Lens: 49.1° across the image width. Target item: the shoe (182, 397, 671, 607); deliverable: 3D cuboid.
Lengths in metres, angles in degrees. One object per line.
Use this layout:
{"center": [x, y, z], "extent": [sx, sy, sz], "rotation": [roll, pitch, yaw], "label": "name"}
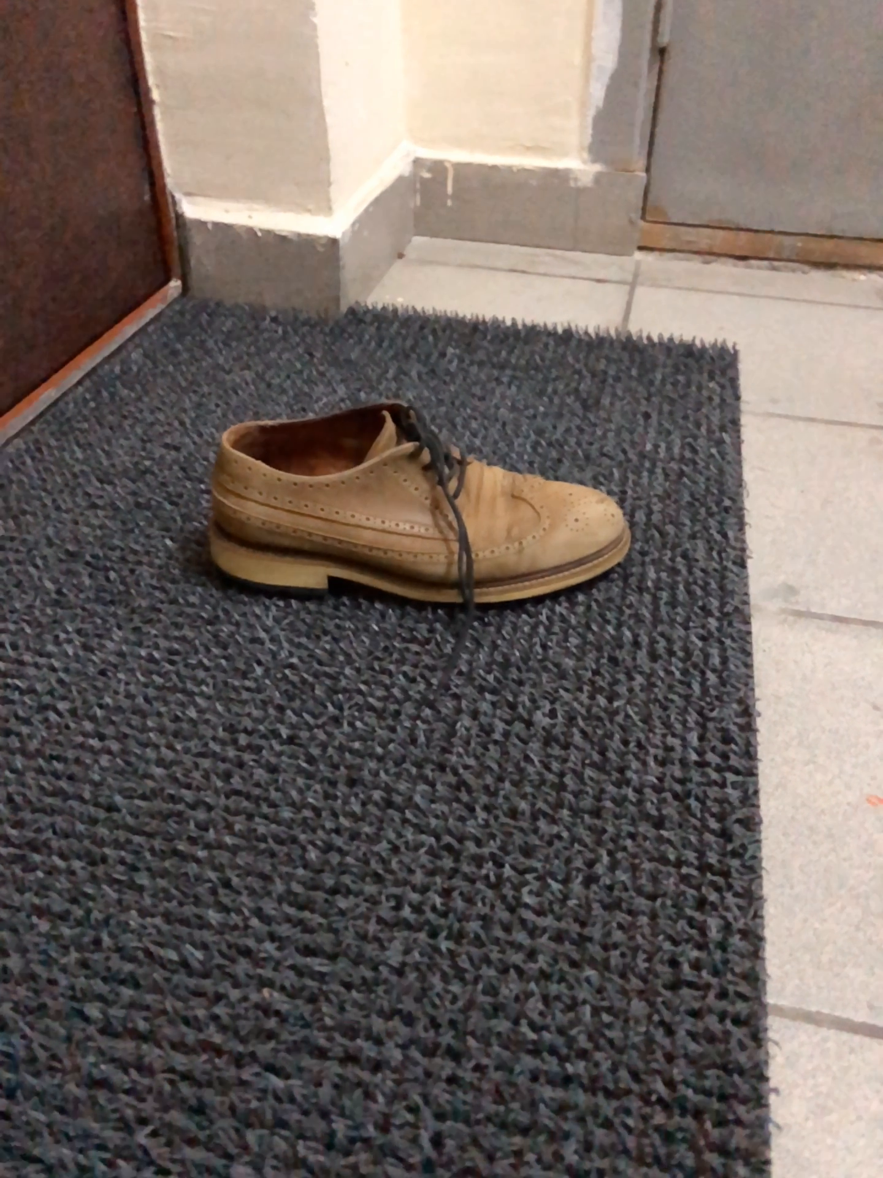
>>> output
{"center": [-0.010, -0.061, 0.667], "extent": [0.300, 0.099, 0.111], "rotation": [0, 37, -1], "label": "shoe"}
